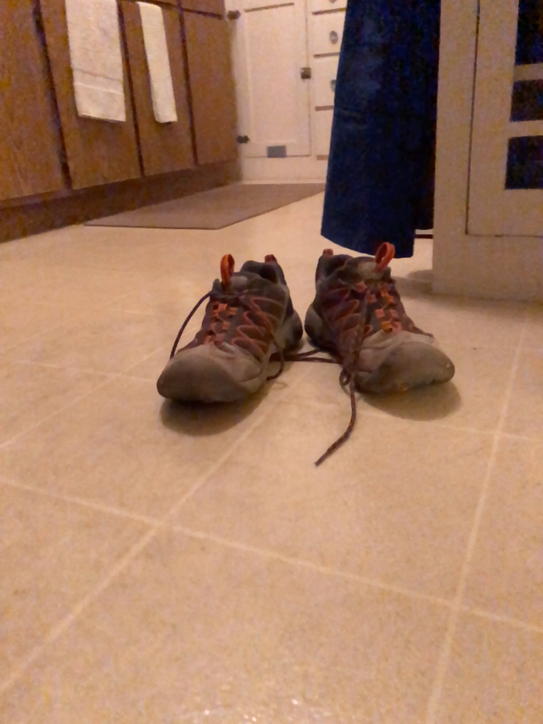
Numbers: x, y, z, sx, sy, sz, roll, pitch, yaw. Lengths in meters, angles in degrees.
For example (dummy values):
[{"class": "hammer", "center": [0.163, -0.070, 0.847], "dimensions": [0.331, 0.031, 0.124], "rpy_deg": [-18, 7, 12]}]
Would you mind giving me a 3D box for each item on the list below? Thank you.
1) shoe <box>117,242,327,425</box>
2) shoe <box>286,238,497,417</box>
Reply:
[{"class": "shoe", "center": [-0.039, -0.054, 0.726], "dimensions": [0.127, 0.121, 0.293], "rpy_deg": [5, 24, 22]}, {"class": "shoe", "center": [0.126, -0.060, 0.726], "dimensions": [0.127, 0.121, 0.283], "rpy_deg": [-10, 23, -15]}]
